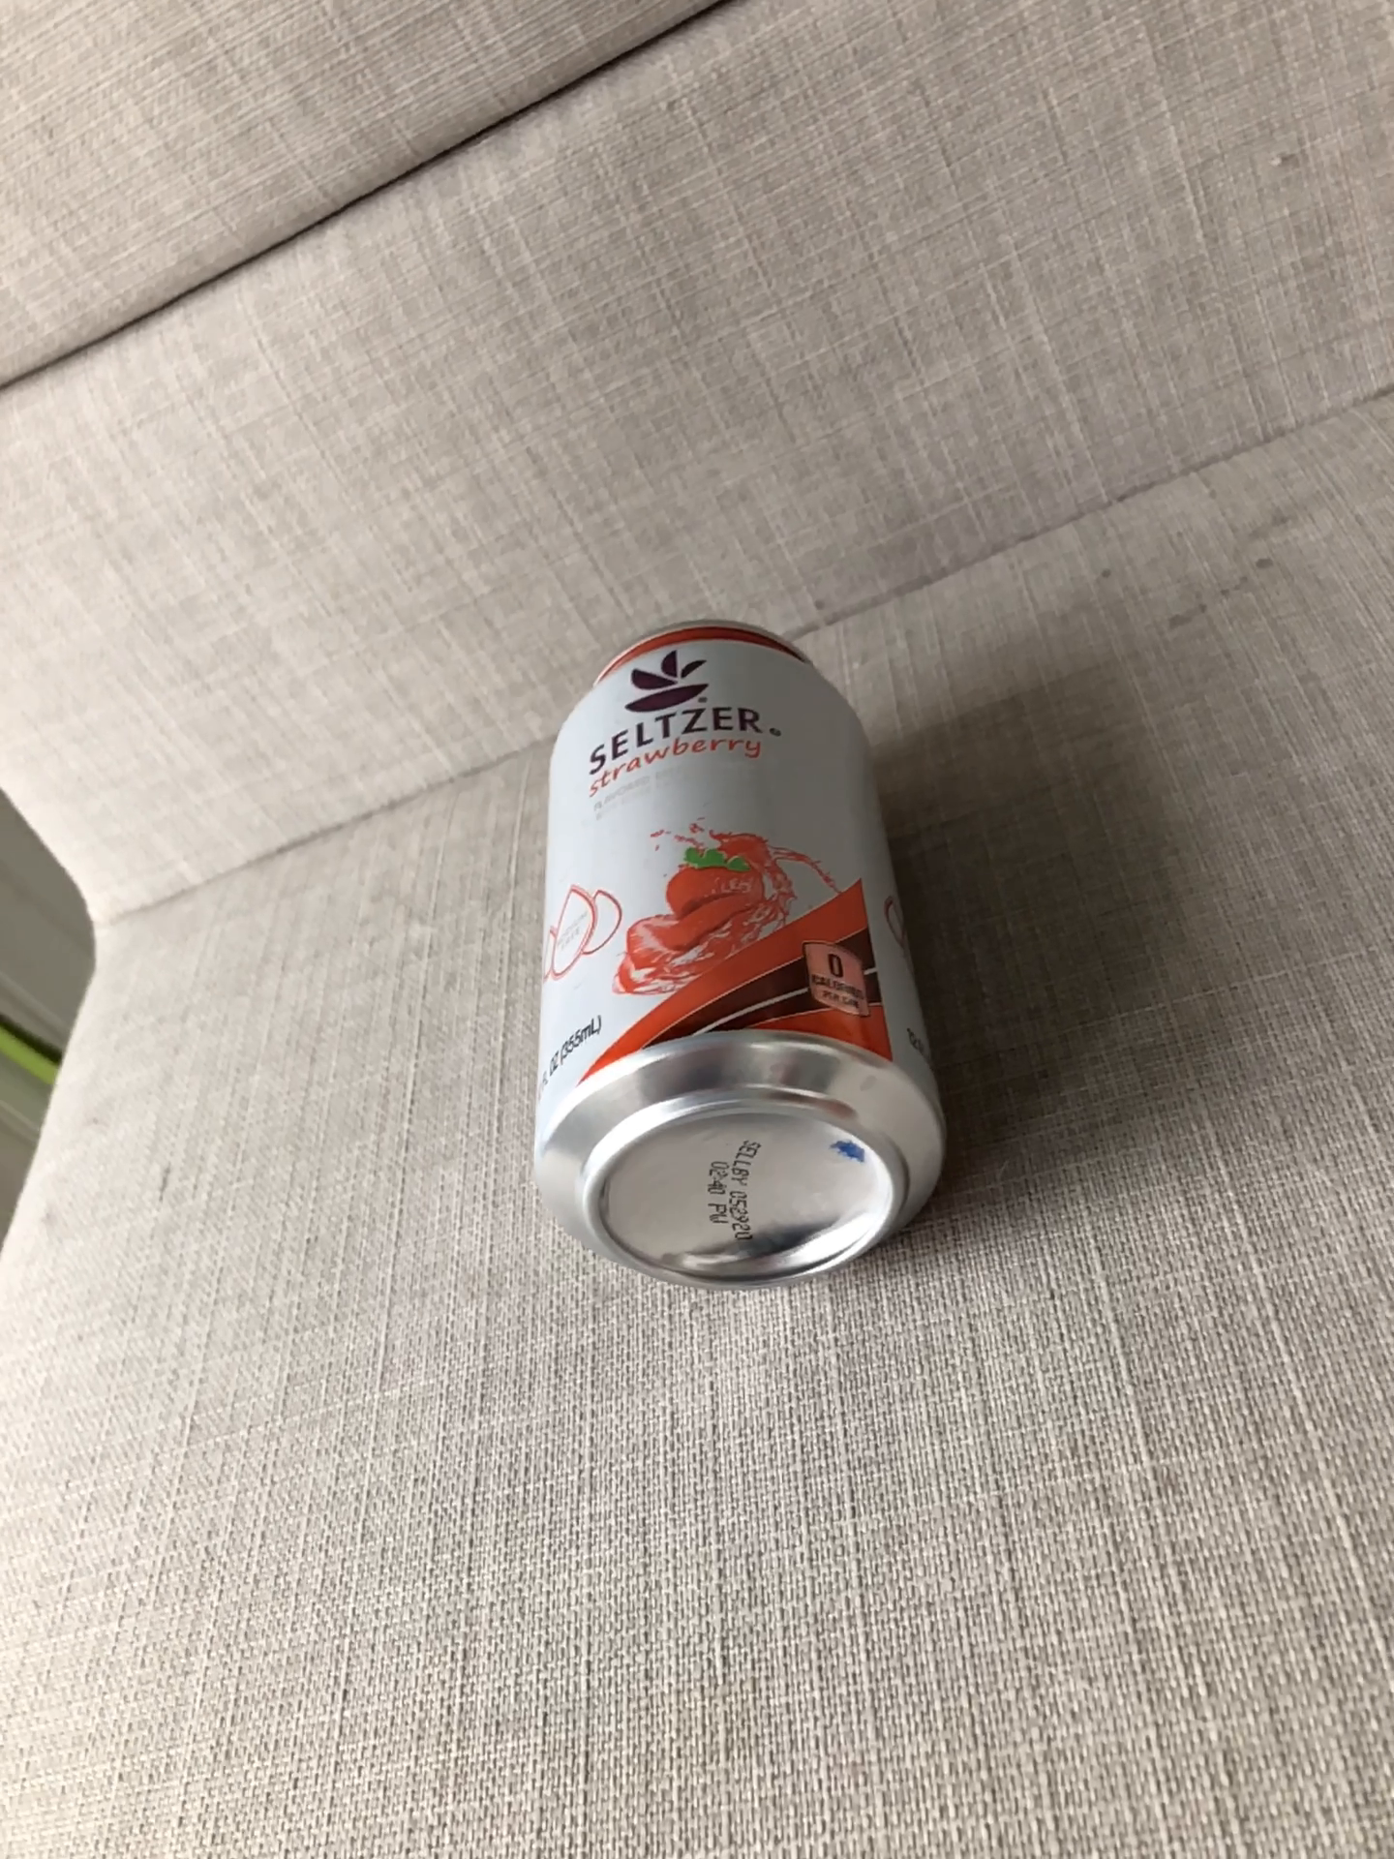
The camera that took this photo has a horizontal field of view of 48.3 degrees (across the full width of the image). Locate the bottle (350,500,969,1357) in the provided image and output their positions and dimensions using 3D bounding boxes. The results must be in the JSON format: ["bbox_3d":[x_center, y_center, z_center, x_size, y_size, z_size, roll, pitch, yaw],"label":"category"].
[{"bbox_3d":[-0.006,-0.003,0.276,0.070,0.069,0.121,-20,44,16],"label":"bottle"}]
